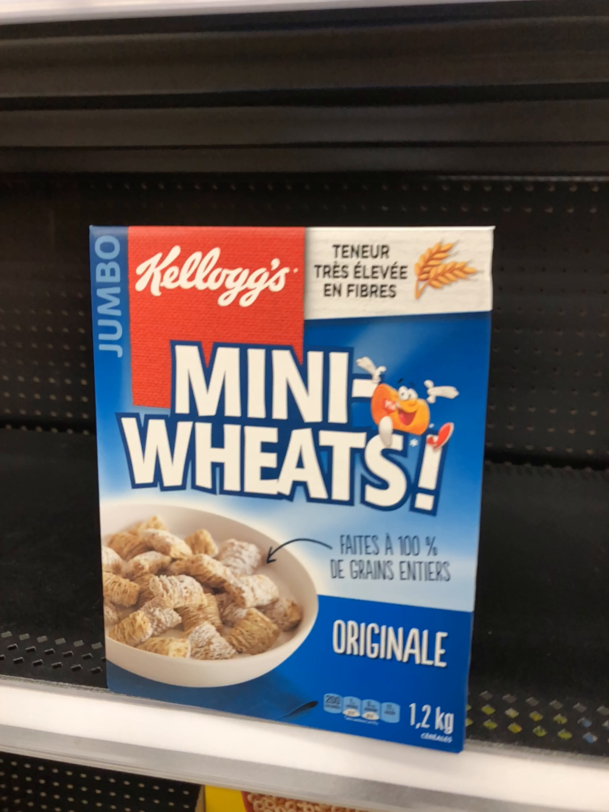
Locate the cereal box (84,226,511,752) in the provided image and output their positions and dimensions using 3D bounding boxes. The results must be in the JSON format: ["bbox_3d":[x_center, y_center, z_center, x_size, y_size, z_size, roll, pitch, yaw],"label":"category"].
[{"bbox_3d":[0.005,0.025,0.413,0.200,0.249,0.171,4,11,12],"label":"cereal box"}]
